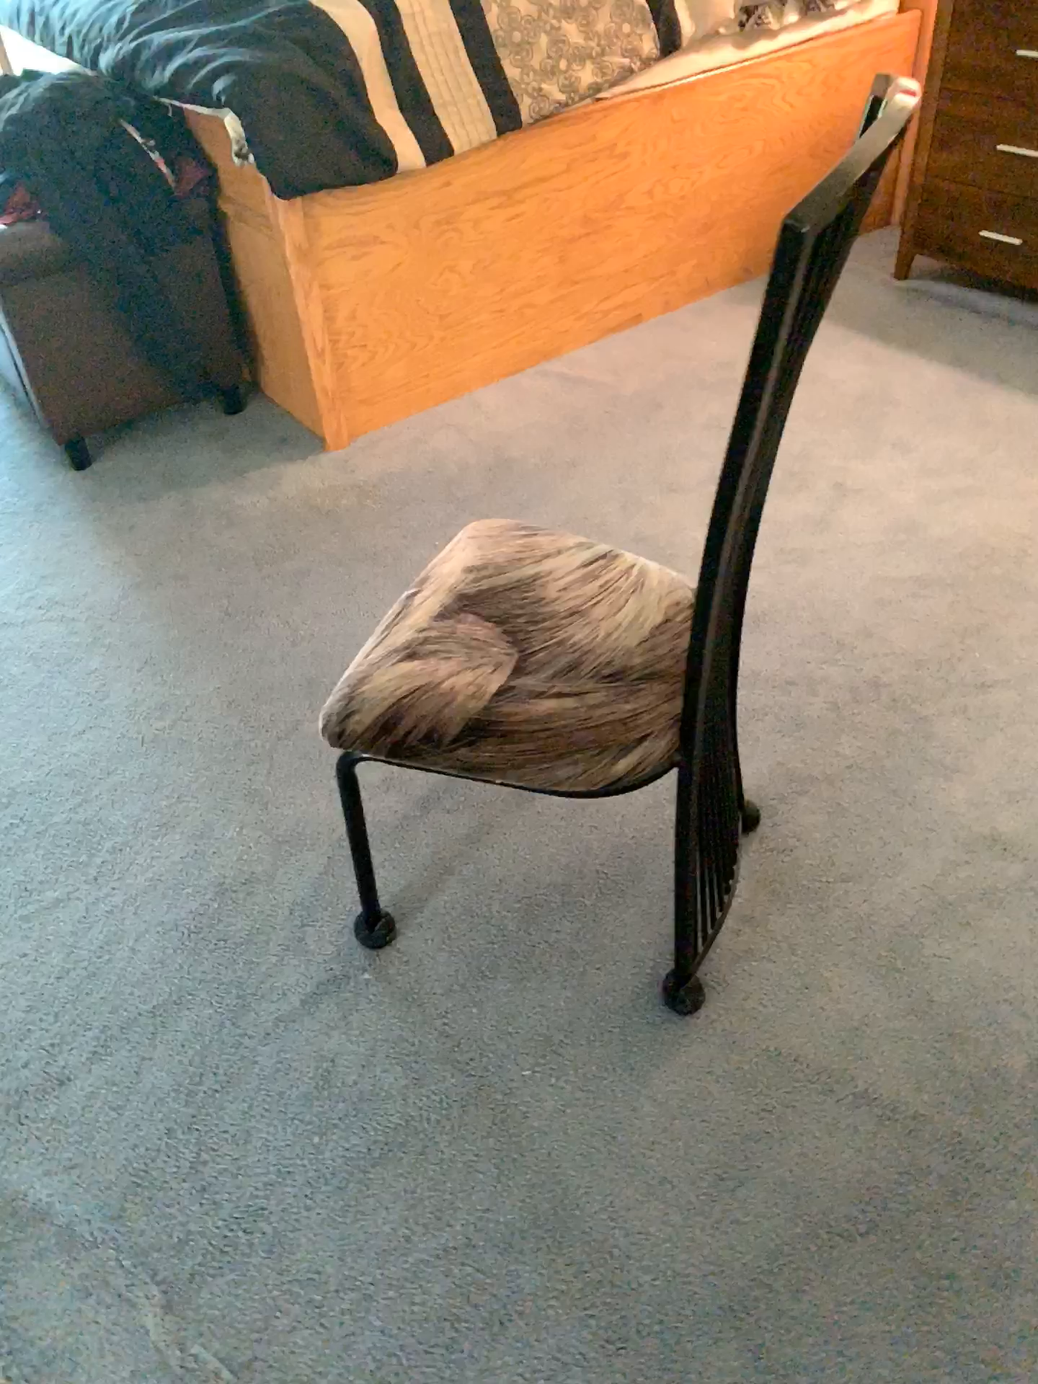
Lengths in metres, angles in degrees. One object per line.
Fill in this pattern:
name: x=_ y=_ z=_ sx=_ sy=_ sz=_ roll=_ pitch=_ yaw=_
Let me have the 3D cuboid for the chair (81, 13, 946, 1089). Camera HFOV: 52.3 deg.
chair: x=0.066 y=-0.121 z=1.161 sx=0.541 sy=0.975 sz=0.512 roll=12 pitch=44 yaw=18
